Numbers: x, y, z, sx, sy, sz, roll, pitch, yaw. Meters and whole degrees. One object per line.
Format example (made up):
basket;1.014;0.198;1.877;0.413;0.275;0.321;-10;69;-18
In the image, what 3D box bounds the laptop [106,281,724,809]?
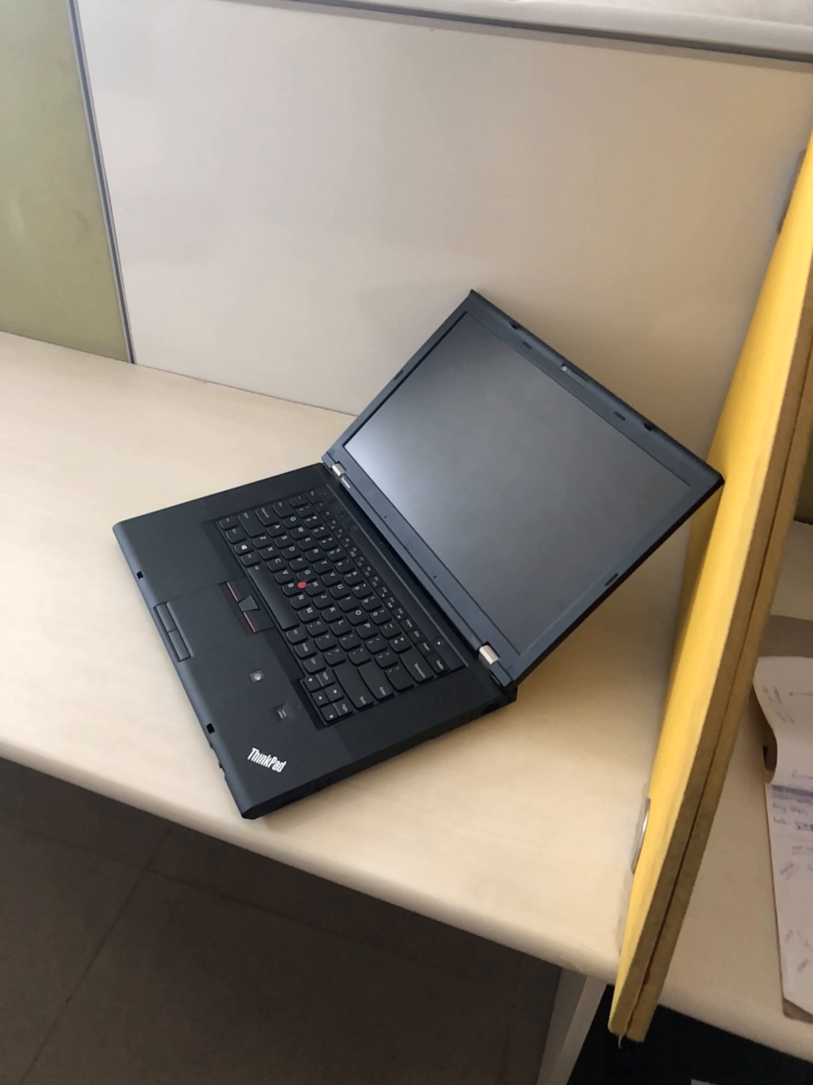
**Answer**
laptop;-0.010;-0.040;0.800;0.418;0.143;0.354;-20;47;-20
